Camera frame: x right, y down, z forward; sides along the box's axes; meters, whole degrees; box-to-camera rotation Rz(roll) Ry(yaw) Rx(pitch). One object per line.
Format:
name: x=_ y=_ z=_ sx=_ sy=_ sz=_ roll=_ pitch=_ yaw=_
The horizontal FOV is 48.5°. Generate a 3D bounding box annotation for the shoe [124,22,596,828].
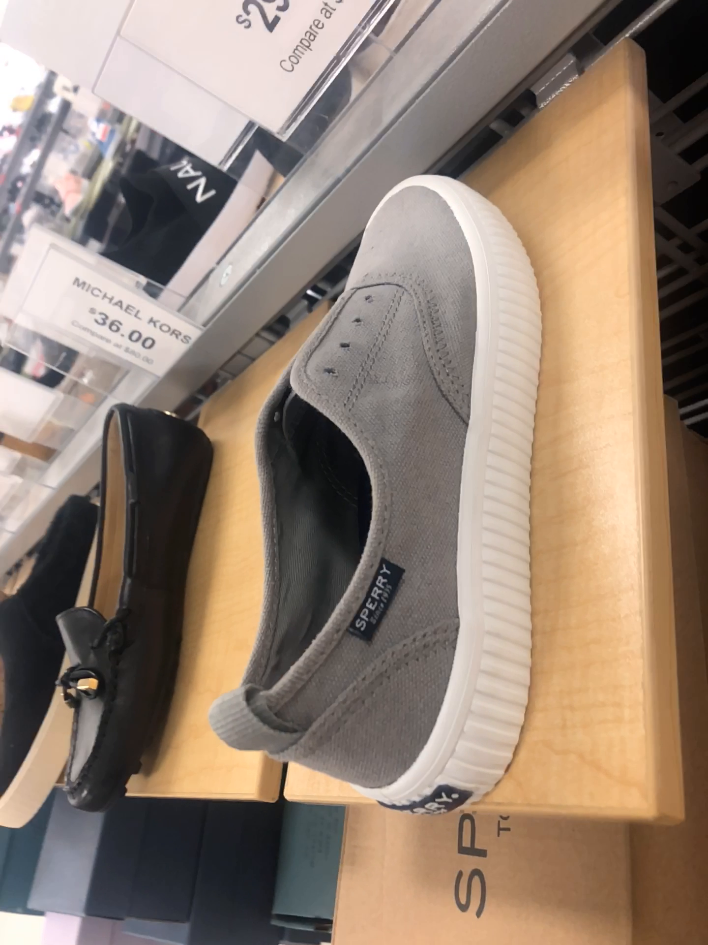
shoe: x=0.005 y=-0.023 z=0.271 sx=0.097 sy=0.081 sz=0.251 roll=-34 pitch=42 yaw=45
